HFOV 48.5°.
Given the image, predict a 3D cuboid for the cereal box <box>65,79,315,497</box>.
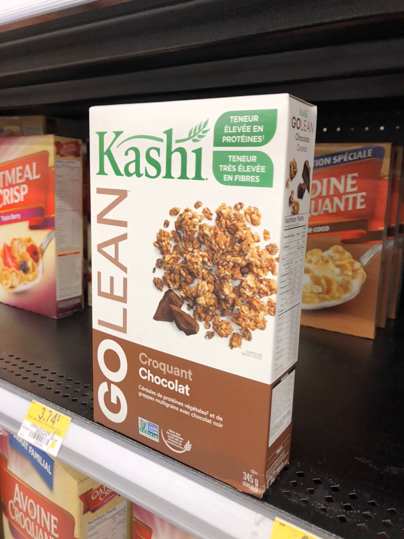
[{"bbox_3d":[-0.018,0.006,0.326,0.170,0.249,0.050,9,14,33],"label":"cereal box"}]
